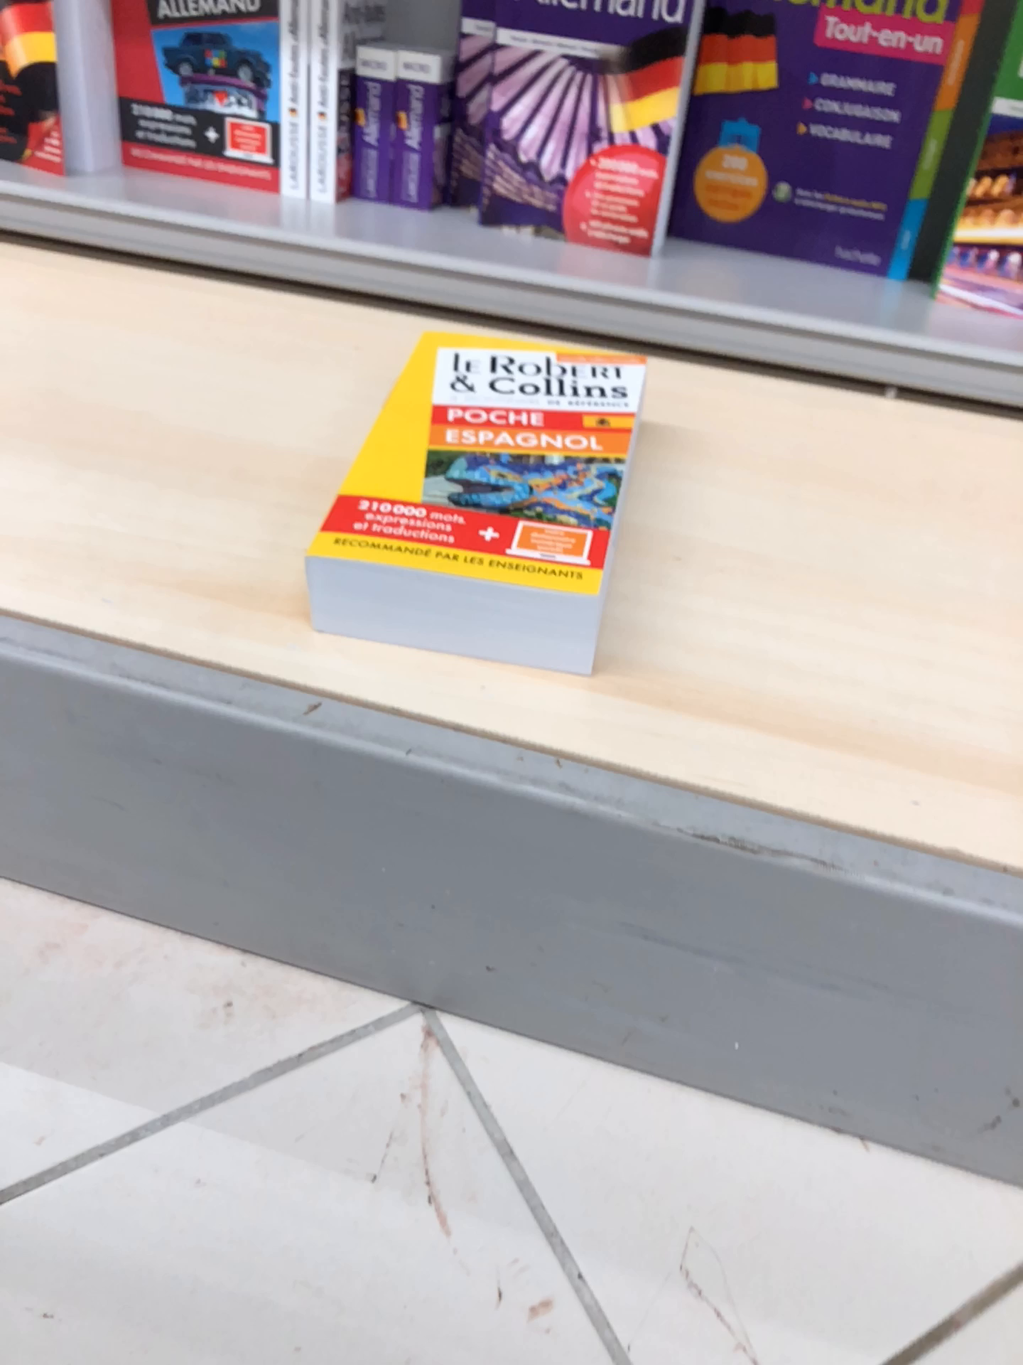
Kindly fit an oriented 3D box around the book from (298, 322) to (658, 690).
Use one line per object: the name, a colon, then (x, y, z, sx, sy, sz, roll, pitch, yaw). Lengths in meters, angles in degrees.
book: (-0.005, -0.082, 0.470, 0.110, 0.040, 0.181, 10, 44, 5)
